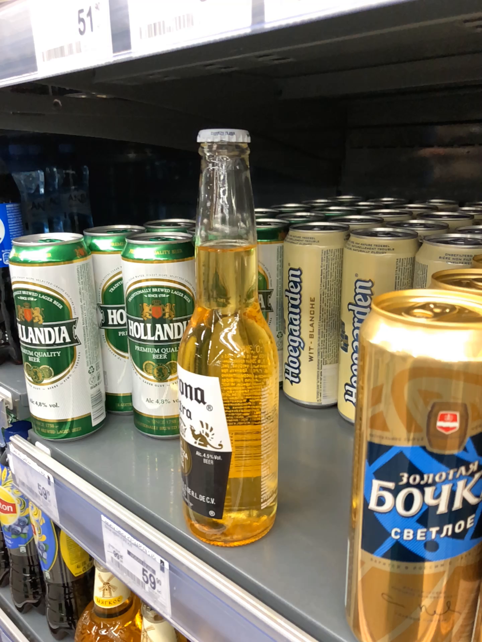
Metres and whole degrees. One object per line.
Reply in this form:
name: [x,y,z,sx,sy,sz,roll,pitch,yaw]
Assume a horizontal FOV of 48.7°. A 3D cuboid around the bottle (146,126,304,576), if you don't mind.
bottle: [-0.009,0.016,0.305,0.060,0.237,0.070,-8,18,-20]
